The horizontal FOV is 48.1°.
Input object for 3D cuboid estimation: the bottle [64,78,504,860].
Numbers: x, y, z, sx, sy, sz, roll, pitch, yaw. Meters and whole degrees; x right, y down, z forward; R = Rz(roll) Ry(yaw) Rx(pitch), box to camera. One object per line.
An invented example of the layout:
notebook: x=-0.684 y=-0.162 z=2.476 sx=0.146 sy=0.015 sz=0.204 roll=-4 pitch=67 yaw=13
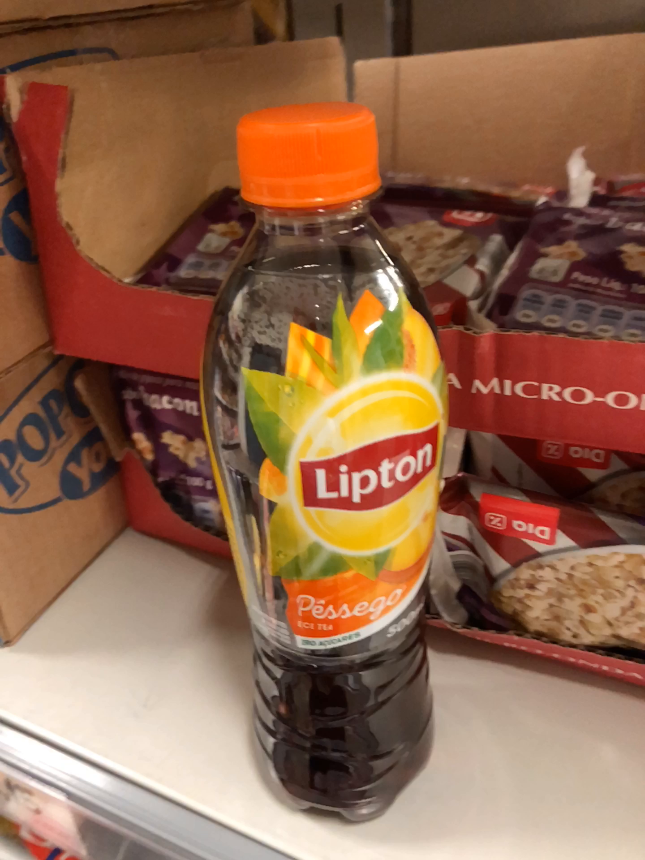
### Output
bottle: x=-0.005 y=0.027 z=0.210 sx=0.070 sy=0.218 sz=0.070 roll=-4 pitch=34 yaw=2
